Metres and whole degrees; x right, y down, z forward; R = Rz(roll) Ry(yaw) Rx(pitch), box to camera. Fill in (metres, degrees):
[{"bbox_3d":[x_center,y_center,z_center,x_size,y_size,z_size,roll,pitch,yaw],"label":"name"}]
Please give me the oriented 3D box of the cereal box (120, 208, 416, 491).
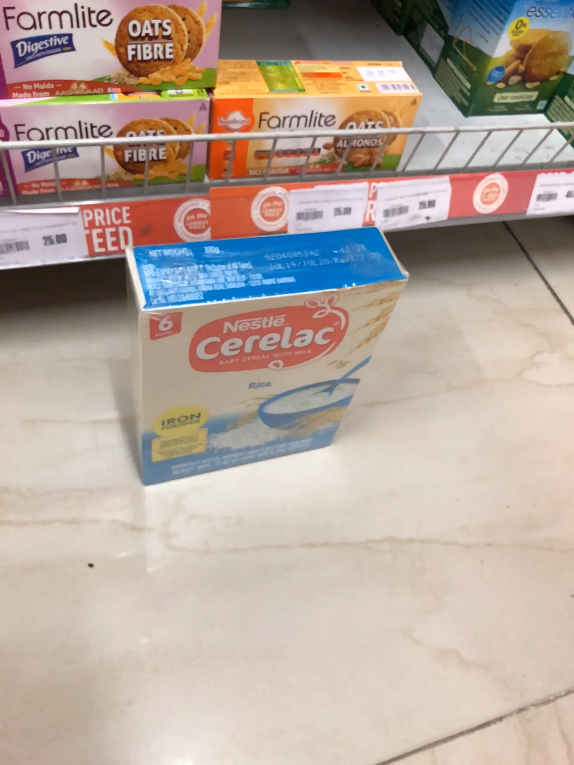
[{"bbox_3d":[-0.024,-0.014,0.421,0.150,0.189,0.060,-10,58,-19],"label":"cereal box"}]
